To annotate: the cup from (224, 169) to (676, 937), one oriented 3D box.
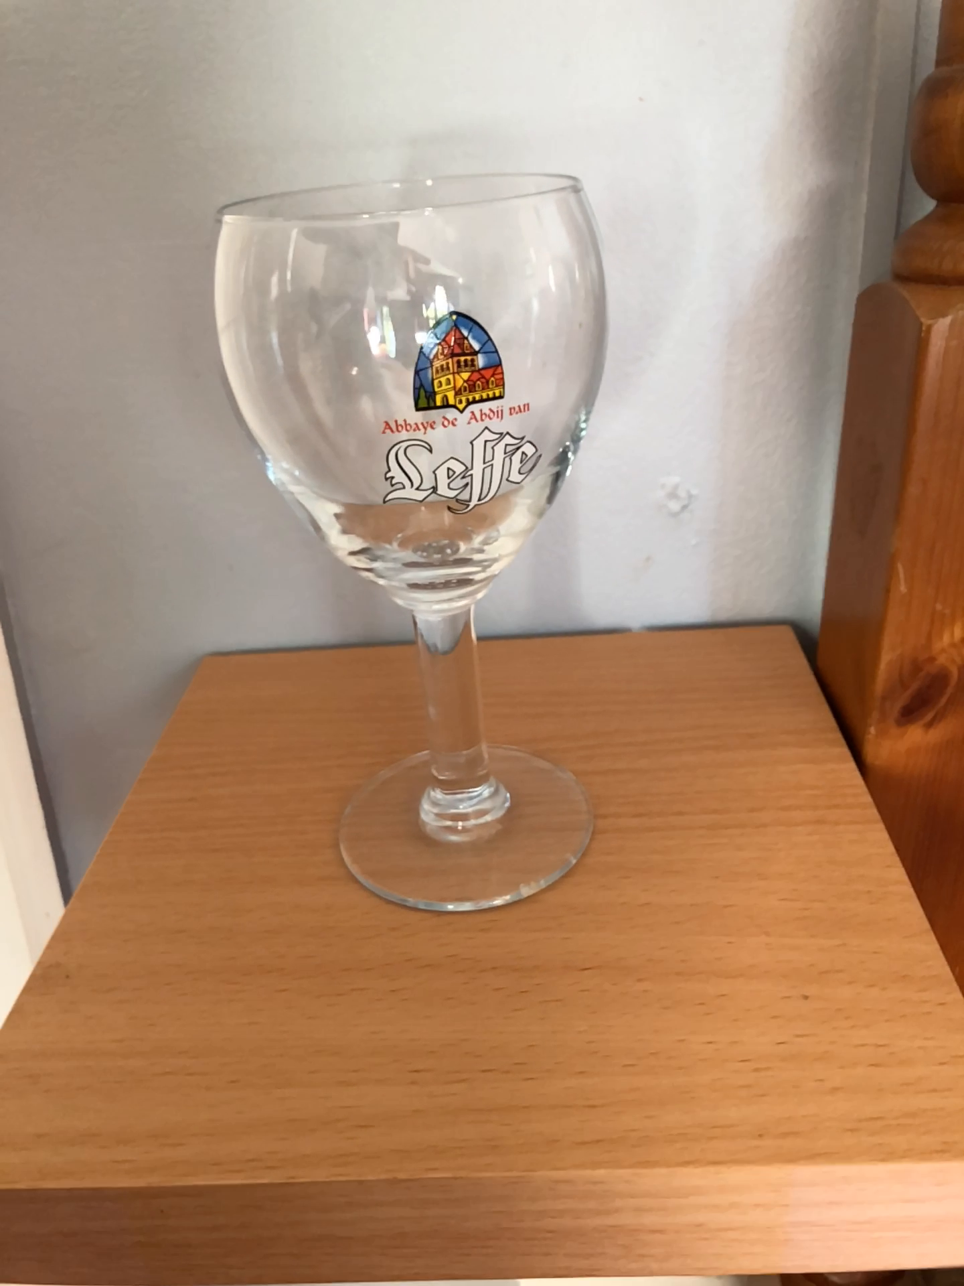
[{"bbox_3d":[-0.011,-0.031,0.304,0.095,0.185,0.100,-2,23,1],"label":"cup"}]
